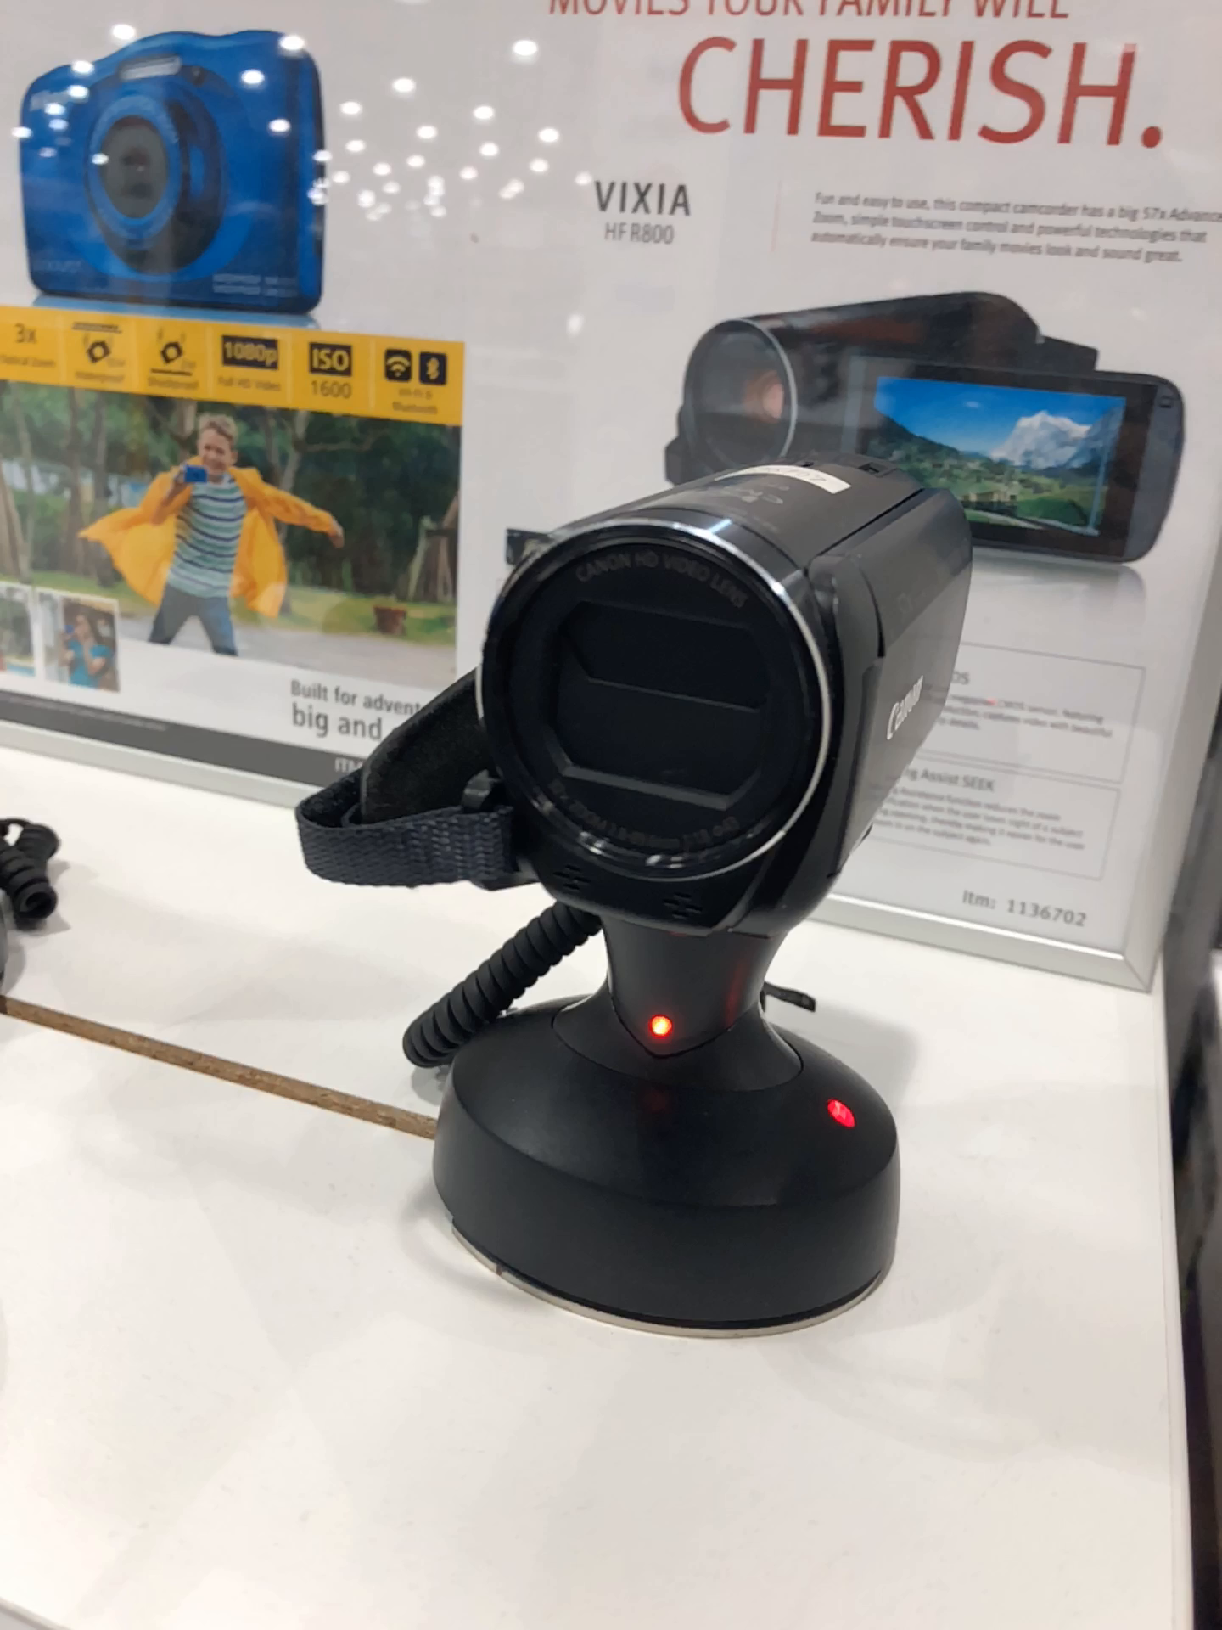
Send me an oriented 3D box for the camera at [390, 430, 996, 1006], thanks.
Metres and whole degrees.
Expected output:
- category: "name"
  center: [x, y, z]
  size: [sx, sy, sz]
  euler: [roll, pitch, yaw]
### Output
- category: "camera"
  center: [0.022, -0.029, 0.234]
  size: [0.060, 0.060, 0.130]
  euler: [12, 21, 19]
